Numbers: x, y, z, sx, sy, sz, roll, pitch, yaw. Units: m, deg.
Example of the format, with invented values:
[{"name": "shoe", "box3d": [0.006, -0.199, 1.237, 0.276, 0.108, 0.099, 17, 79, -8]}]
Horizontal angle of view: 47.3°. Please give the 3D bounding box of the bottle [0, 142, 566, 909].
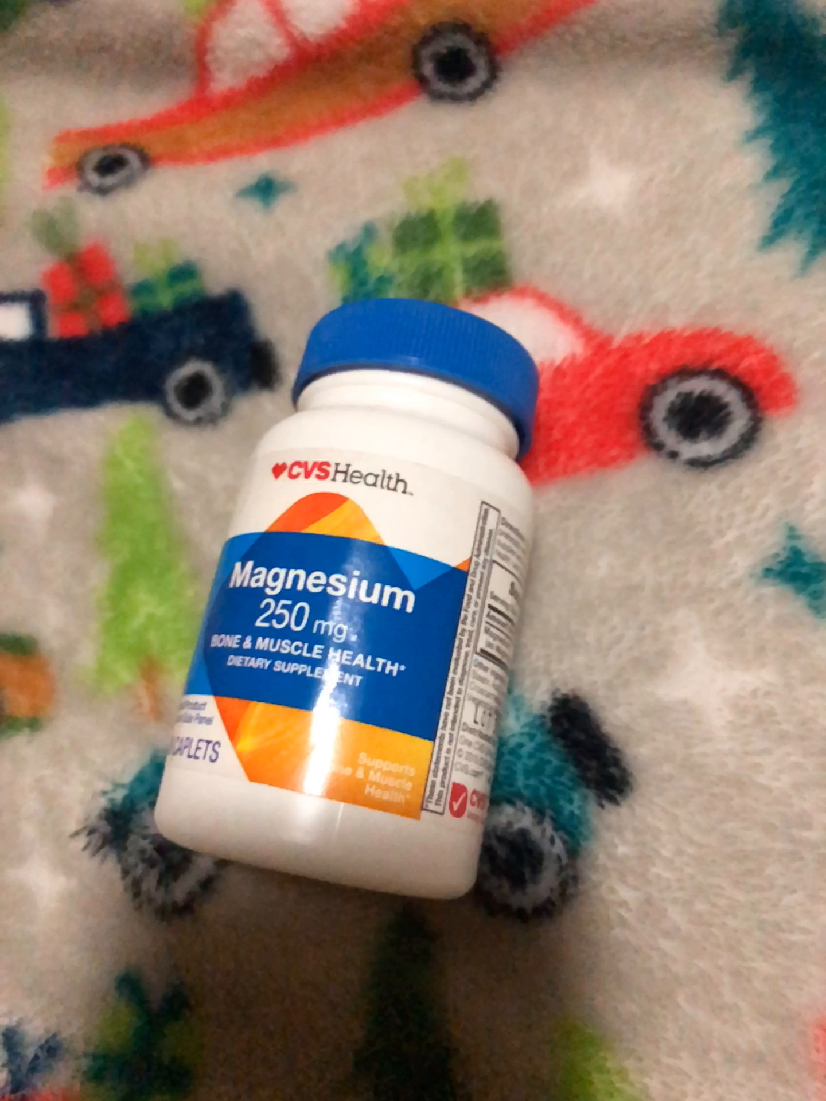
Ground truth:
[{"name": "bottle", "box3d": [-0.017, -0.003, 0.148, 0.060, 0.050, 0.100, 4, 71, 23]}]
